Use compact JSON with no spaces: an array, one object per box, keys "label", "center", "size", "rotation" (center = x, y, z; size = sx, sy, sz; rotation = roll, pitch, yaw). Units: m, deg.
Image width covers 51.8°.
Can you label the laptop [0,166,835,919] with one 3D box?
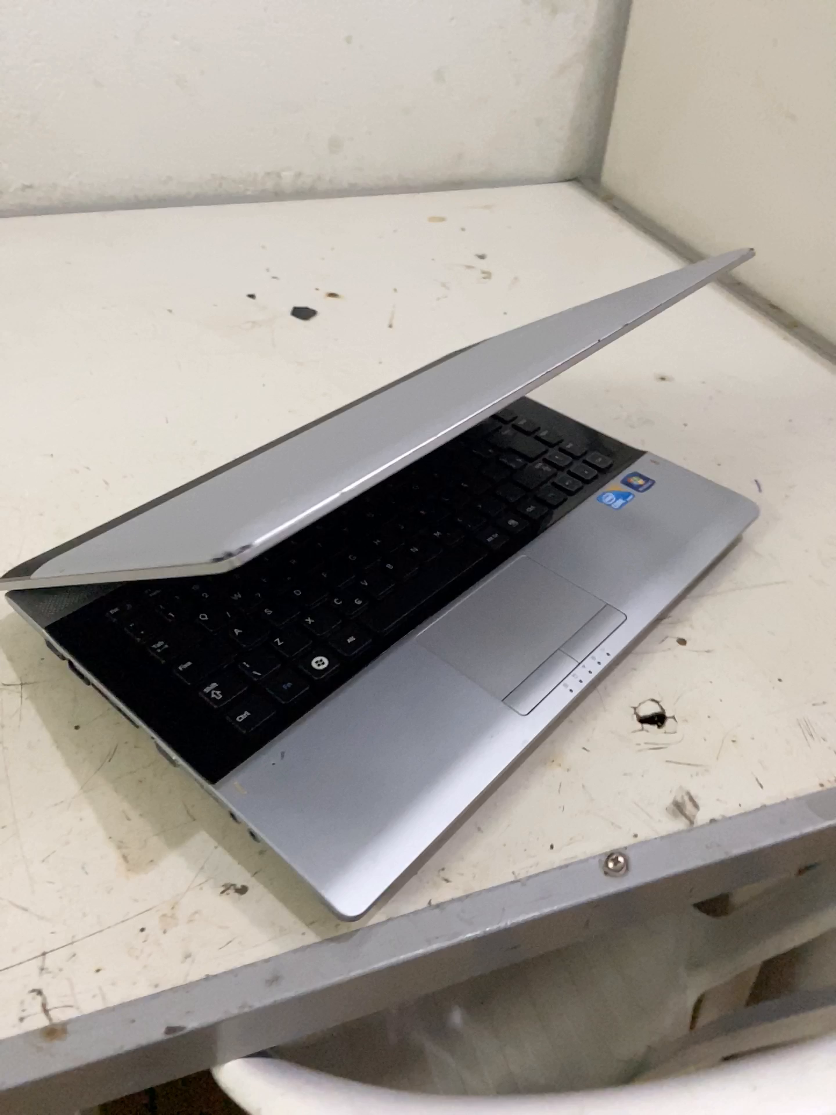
[{"label":"laptop","center":[0.005,-0.058,0.413],"size":[0.232,0.133,0.338],"rotation":[32,47,28]}]
